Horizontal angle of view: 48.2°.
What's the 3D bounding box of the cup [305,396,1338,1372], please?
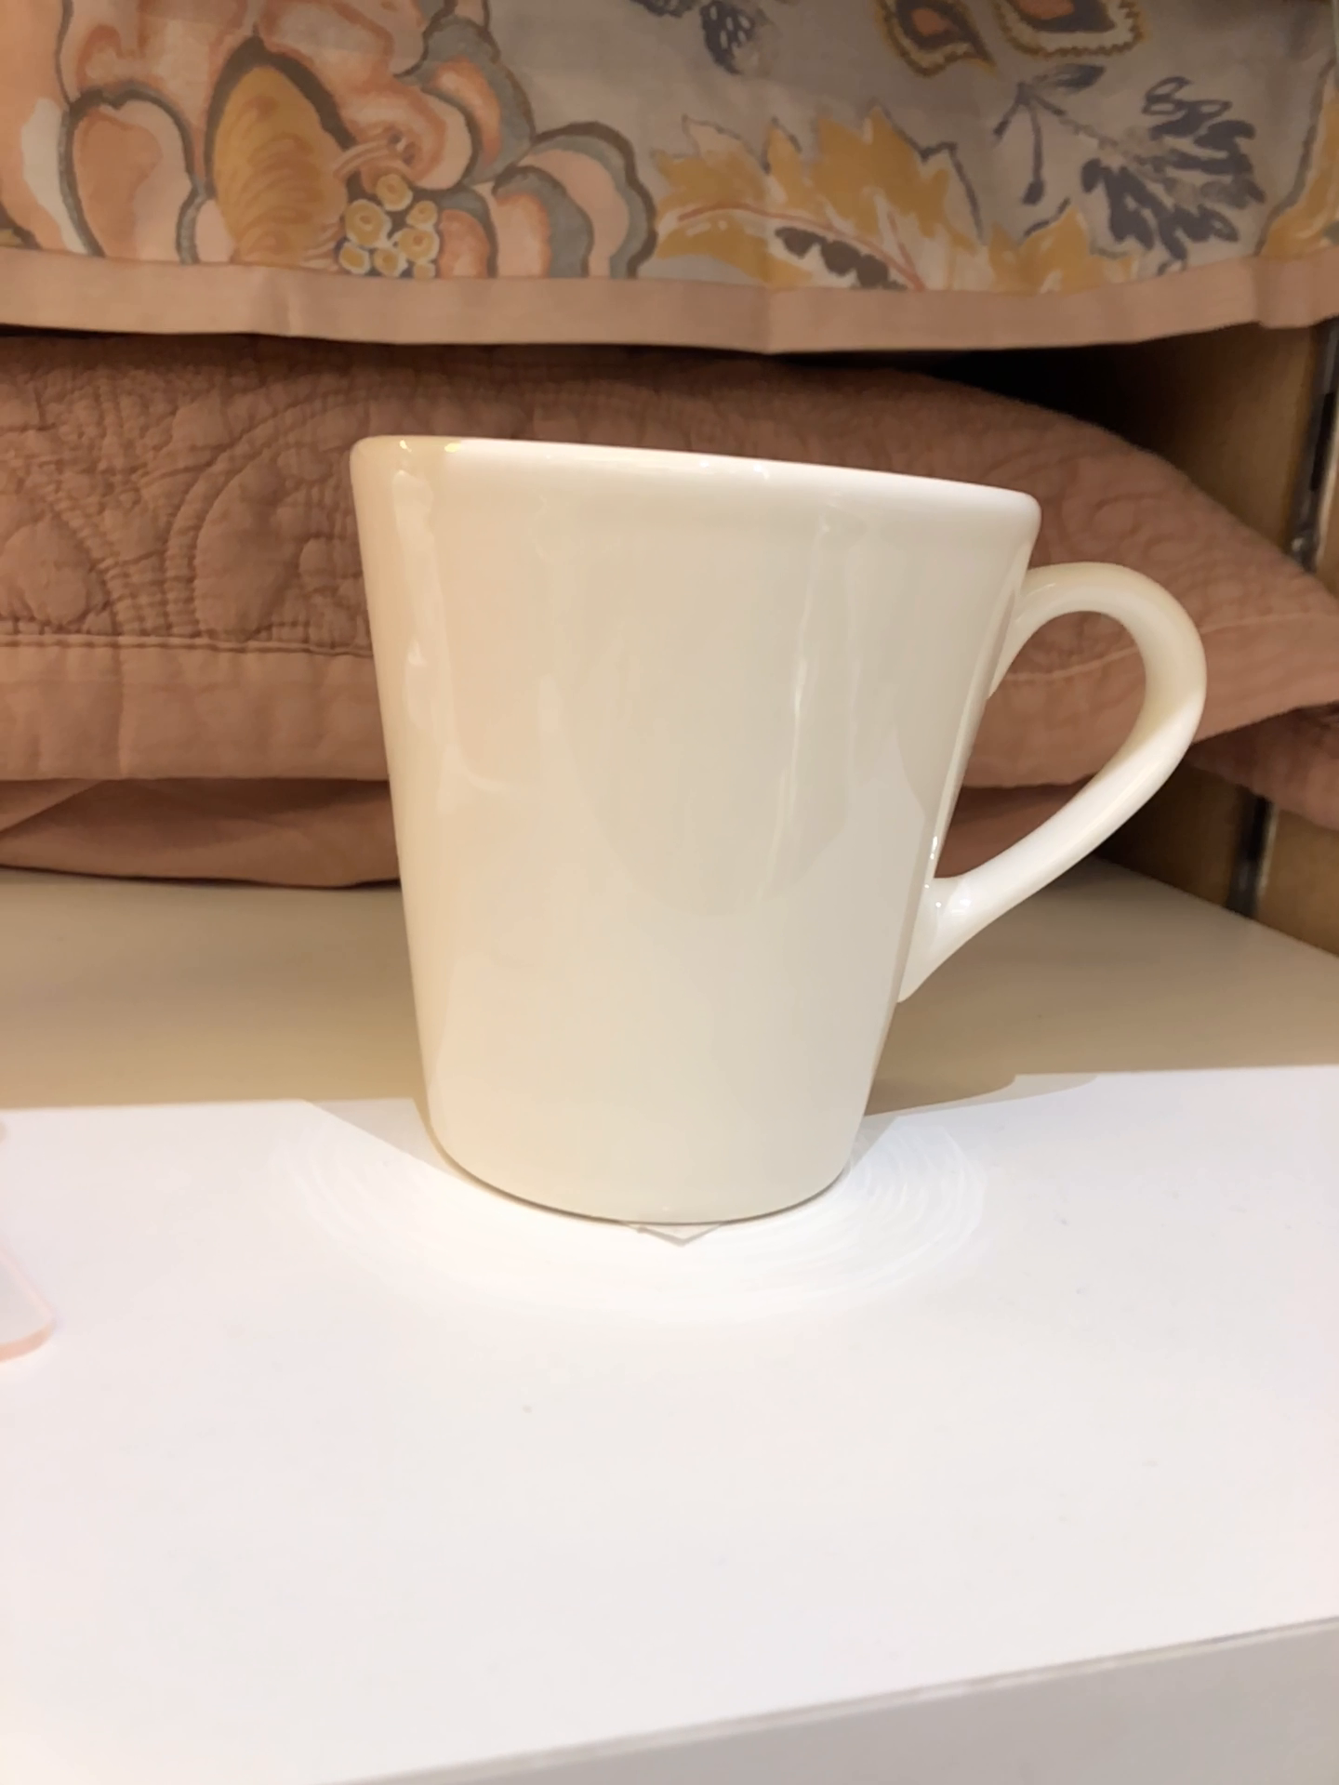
[{"bbox_3d":[0.016,-0.009,0.209,0.110,0.100,0.080,-2,15,-28],"label":"cup"}]
